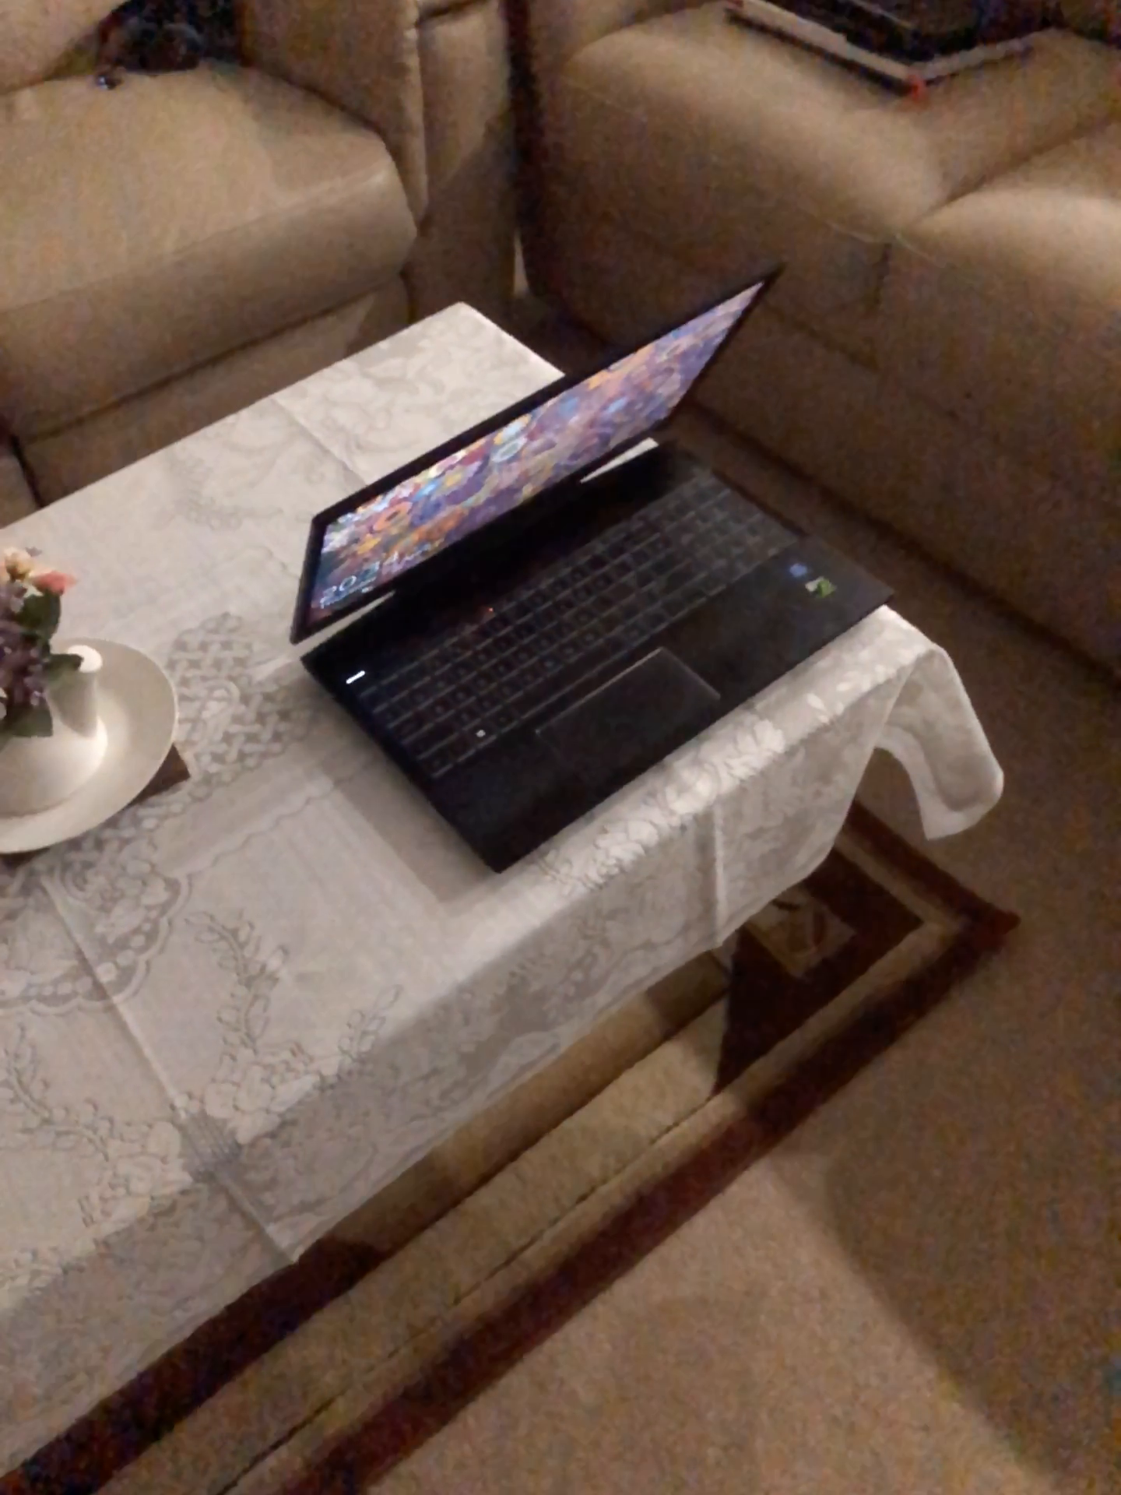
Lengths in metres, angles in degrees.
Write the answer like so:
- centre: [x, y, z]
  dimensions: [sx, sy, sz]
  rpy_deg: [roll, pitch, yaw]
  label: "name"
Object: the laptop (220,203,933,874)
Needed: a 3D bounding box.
- centre: [0.017, -0.150, 0.808]
  dimensions: [0.355, 0.199, 0.243]
  rpy_deg: [-35, 57, -20]
  label: "laptop"
